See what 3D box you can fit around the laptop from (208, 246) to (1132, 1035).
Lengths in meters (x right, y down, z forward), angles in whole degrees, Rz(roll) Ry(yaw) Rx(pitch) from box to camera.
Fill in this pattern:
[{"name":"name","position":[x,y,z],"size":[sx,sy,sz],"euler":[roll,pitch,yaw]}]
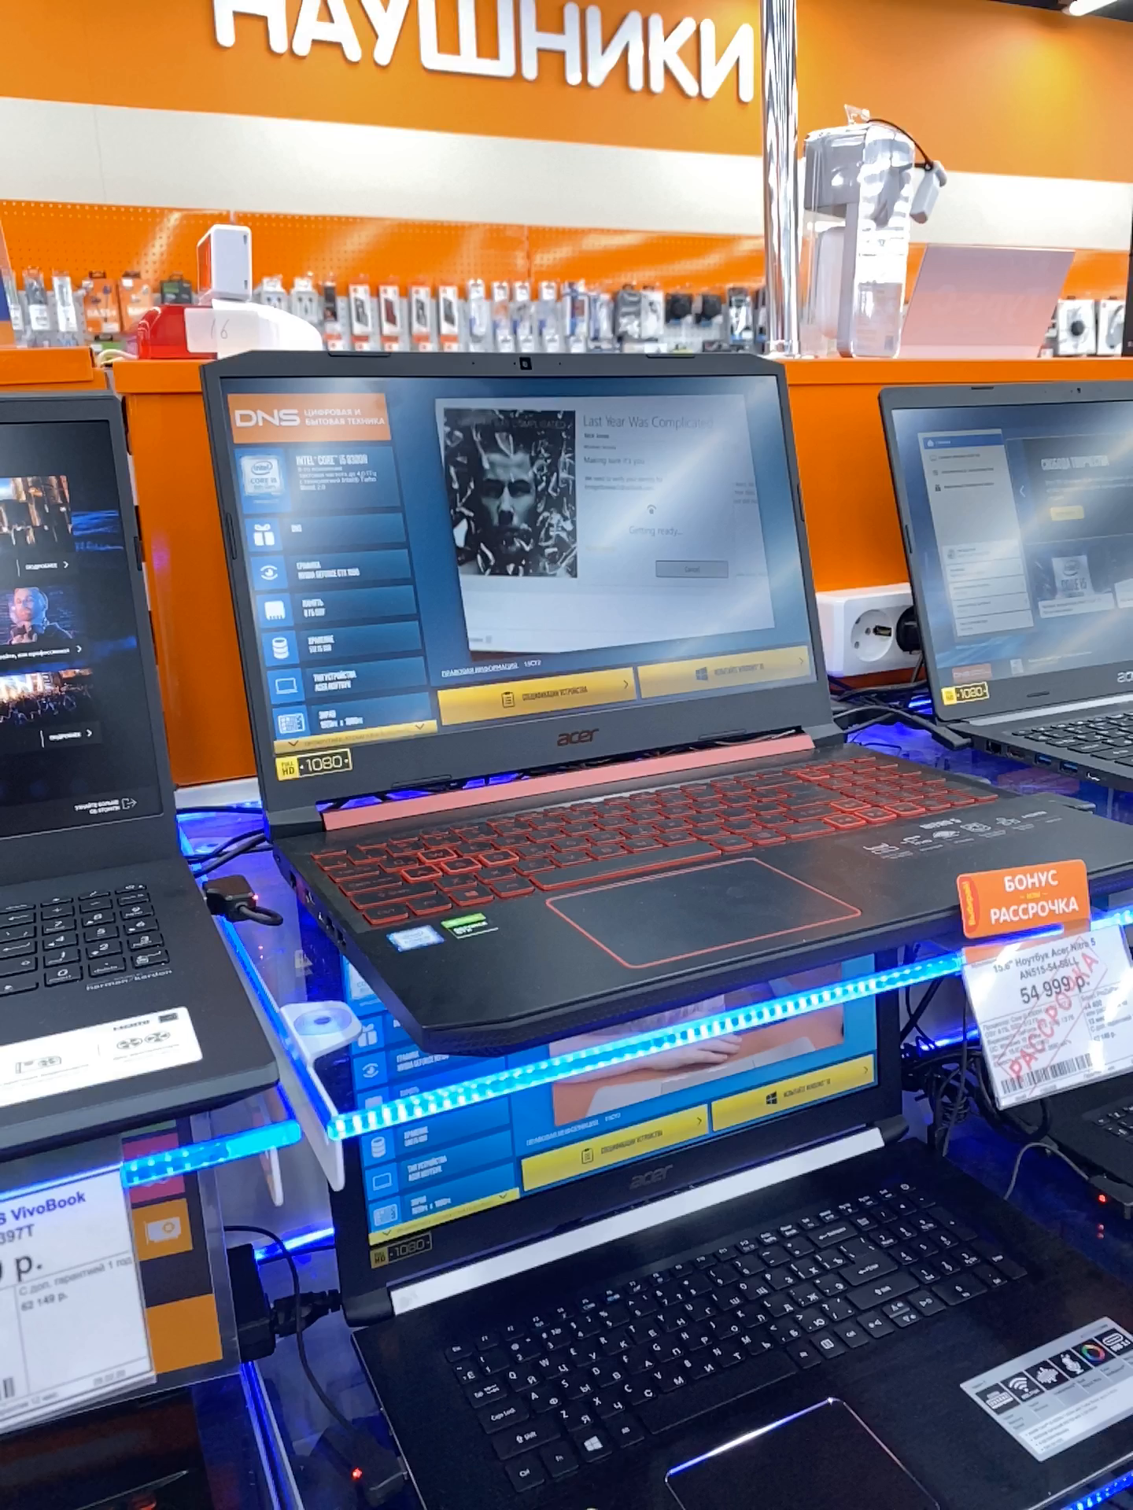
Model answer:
[{"name":"laptop","position":[0.048,-0.077,0.560],"size":[0.360,0.237,0.303],"euler":[-8,14,-26]}]
